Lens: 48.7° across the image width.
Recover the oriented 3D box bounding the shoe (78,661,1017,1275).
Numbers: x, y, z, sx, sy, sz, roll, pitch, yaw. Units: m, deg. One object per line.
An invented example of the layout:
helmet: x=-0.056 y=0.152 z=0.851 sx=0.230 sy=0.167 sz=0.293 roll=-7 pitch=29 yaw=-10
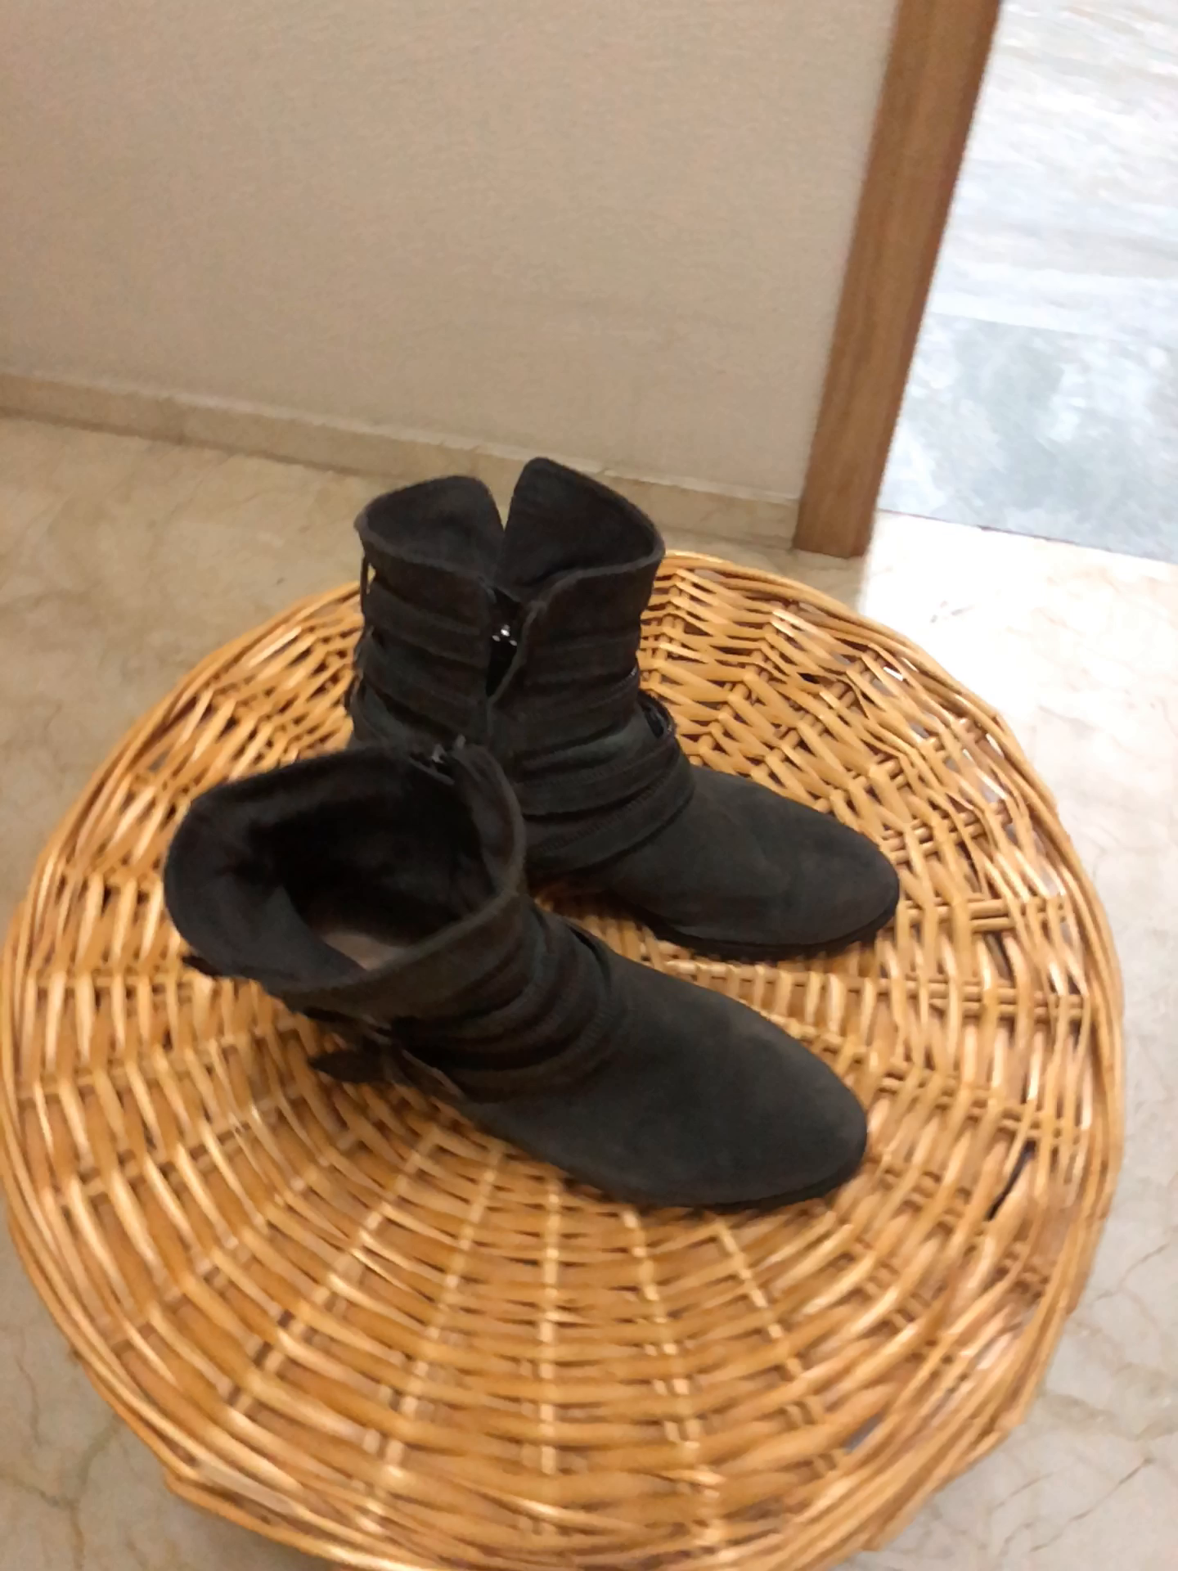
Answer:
shoe: x=-0.007 y=0.072 z=0.460 sx=0.260 sy=0.170 sz=0.110 roll=11 pitch=62 yaw=7

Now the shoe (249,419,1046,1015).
shoe: x=0.024 y=-0.023 z=0.520 sx=0.260 sy=0.169 sz=0.110 roll=11 pitch=54 yaw=7
